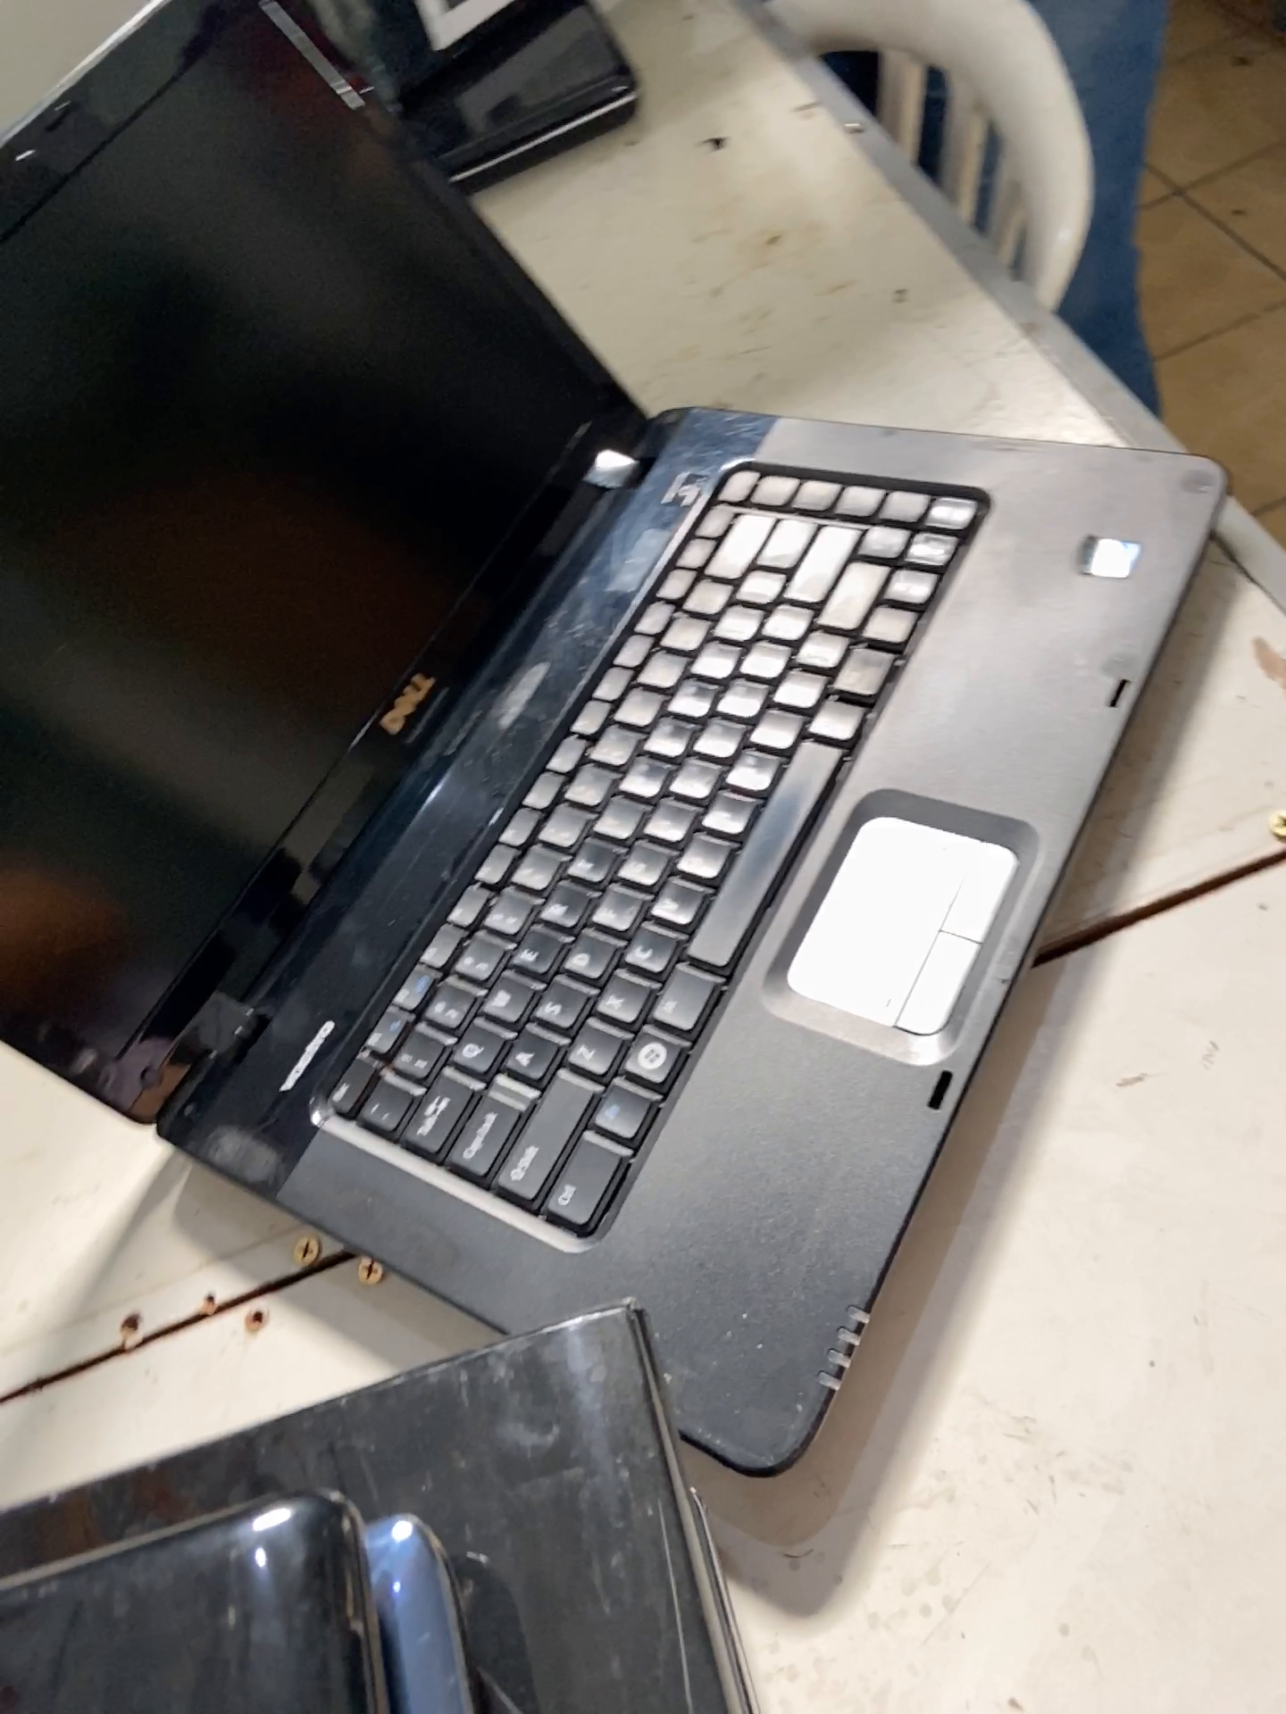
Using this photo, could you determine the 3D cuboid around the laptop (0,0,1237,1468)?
[{"bbox_3d":[-0.057,-0.093,0.415,0.353,0.203,0.365,17,64,31],"label":"laptop"}]
